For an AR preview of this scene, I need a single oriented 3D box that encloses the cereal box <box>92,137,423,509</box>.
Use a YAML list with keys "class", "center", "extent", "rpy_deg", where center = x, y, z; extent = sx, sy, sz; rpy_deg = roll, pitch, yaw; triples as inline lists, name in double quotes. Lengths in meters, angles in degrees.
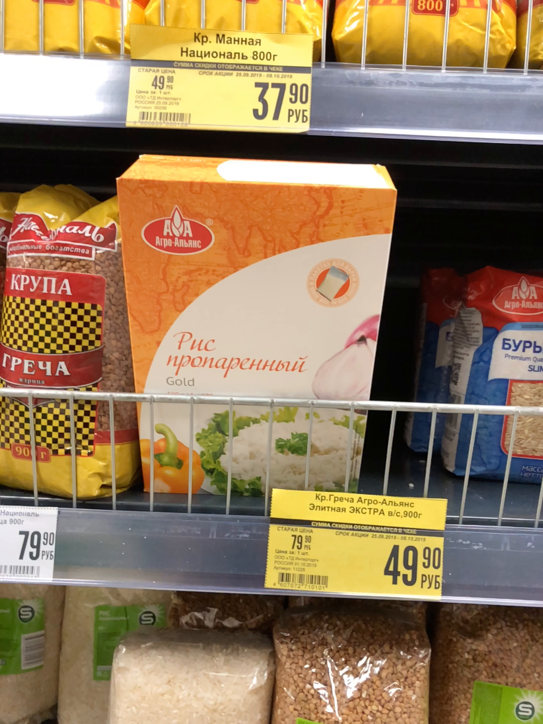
- class: "cereal box"
  center: [-0.009, -0.014, 0.327]
  extent: [0.140, 0.189, 0.060]
  rpy_deg: [2, 30, -1]
